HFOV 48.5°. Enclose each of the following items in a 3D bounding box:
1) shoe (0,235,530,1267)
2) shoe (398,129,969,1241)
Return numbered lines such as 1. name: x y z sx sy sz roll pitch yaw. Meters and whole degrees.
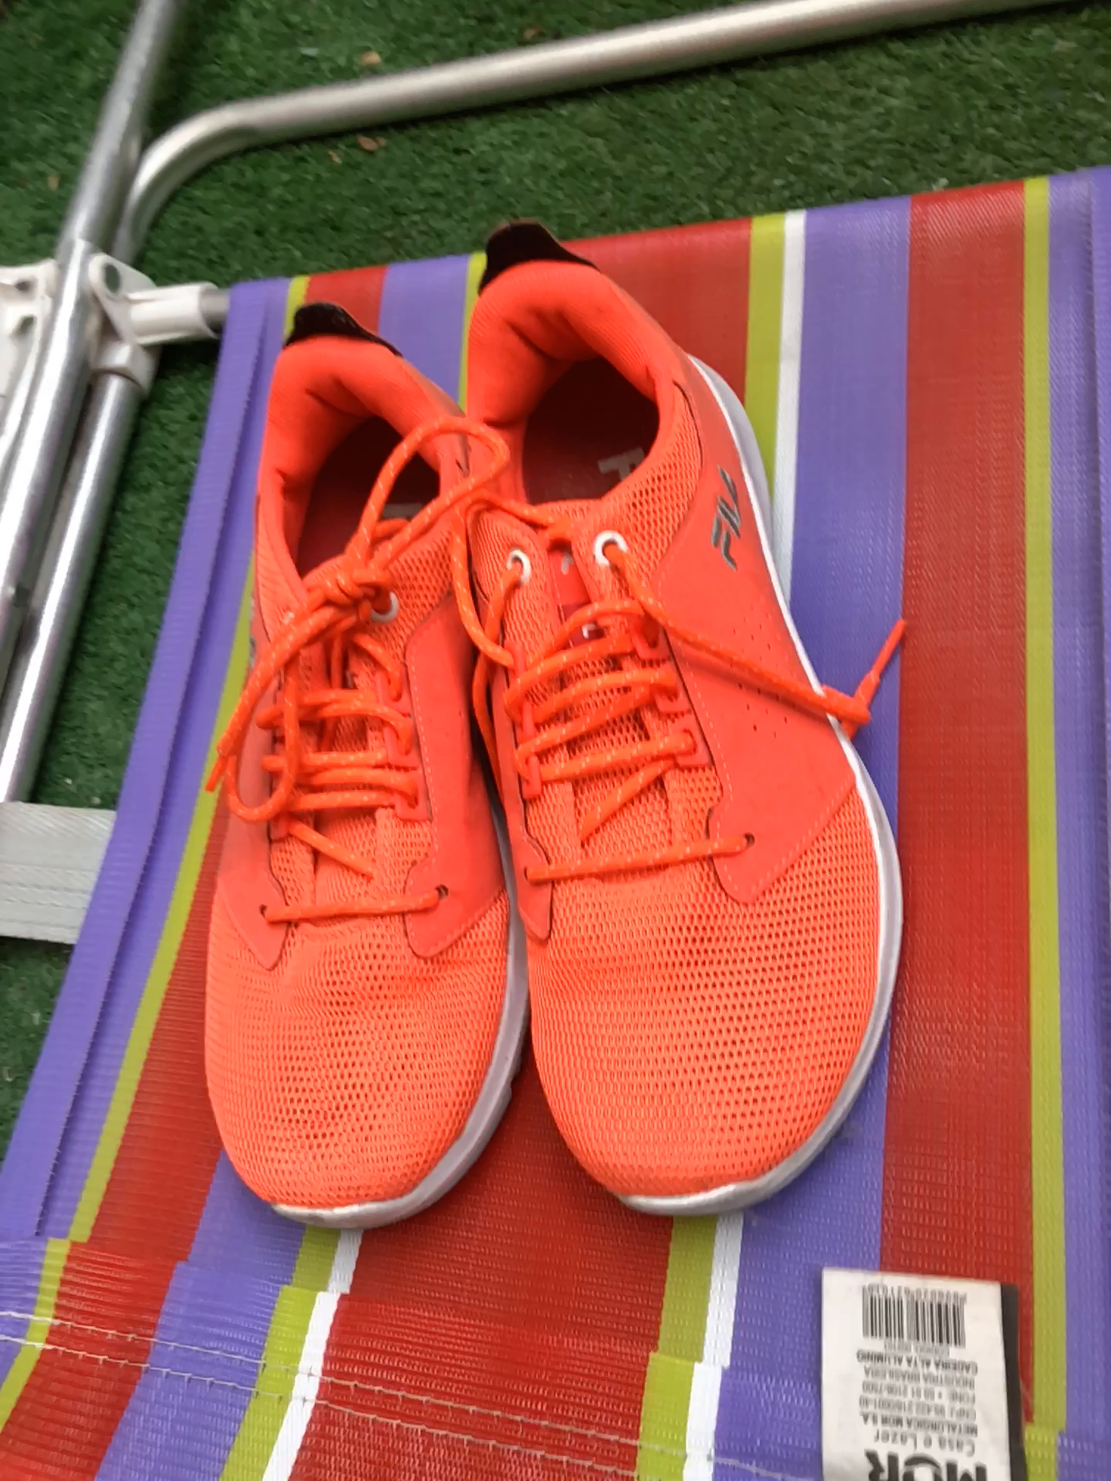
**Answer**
1. shoe: -0.070 0.006 0.313 0.100 0.100 0.230 -5 68 13
2. shoe: 0.027 -0.012 0.311 0.100 0.090 0.251 -11 66 17
